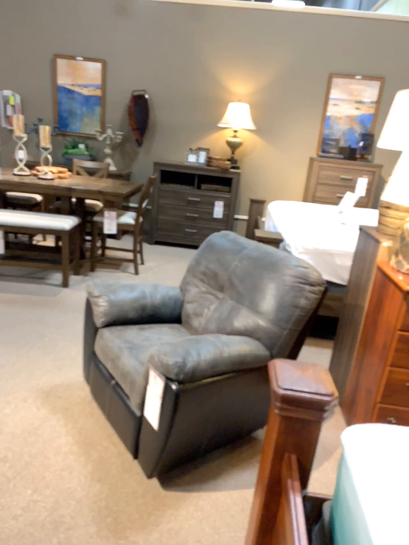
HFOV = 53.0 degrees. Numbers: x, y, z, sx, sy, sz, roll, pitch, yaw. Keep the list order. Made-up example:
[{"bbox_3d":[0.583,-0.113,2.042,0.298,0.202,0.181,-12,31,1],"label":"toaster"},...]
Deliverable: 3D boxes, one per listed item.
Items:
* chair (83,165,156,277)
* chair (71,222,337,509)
[{"bbox_3d":[-0.863,-0.536,4.197,0.624,1.003,0.490,5,18,-2],"label":"chair"},{"bbox_3d":[-0.088,0.314,2.145,0.905,0.923,0.991,-7,22,-34],"label":"chair"}]
